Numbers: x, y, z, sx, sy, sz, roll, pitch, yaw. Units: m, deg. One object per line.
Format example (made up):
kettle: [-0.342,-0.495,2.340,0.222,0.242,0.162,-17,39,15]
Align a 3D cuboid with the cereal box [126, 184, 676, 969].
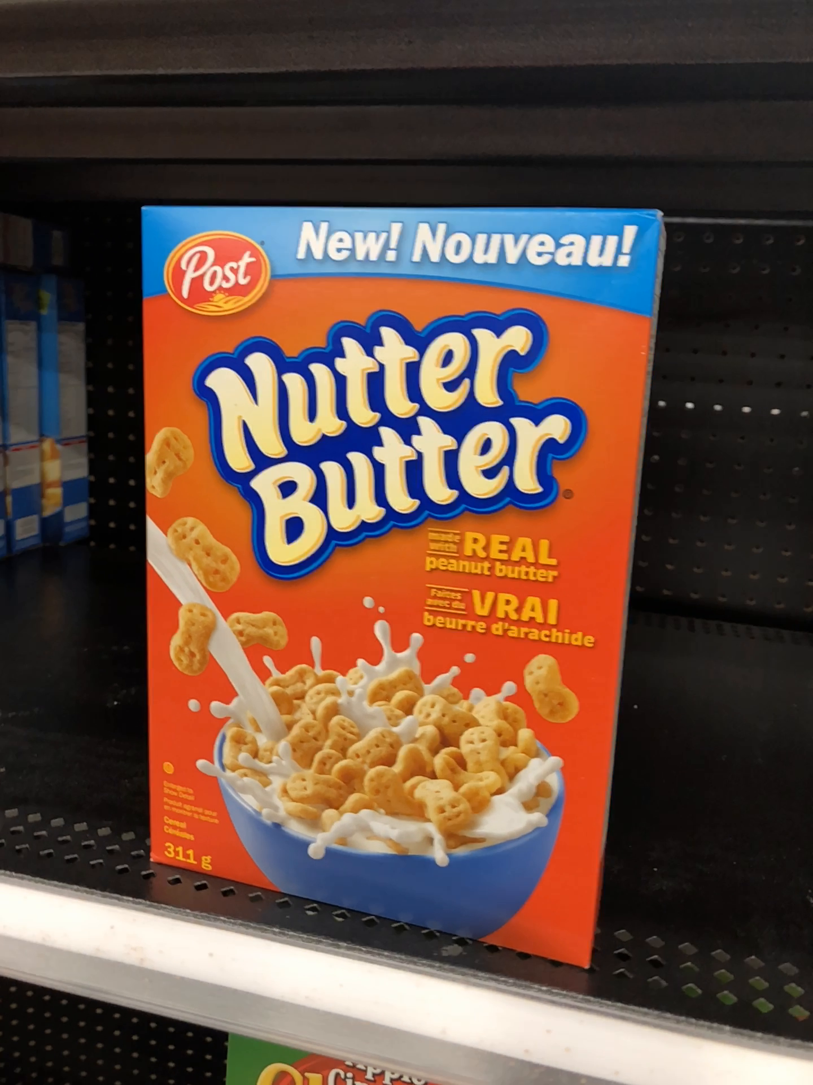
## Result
cereal box: [-0.010,0.007,0.368,0.200,0.279,0.060,7,12,17]
